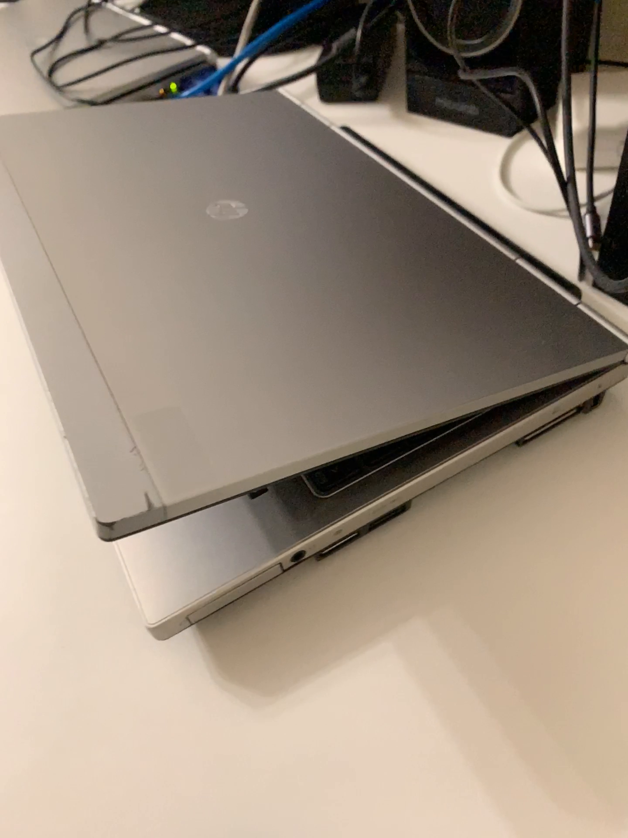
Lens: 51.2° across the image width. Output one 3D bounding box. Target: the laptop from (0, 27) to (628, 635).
[{"bbox_3d":[-0.045,-0.086,0.308,0.200,0.042,0.305,-29,51,-10],"label":"laptop"}]
